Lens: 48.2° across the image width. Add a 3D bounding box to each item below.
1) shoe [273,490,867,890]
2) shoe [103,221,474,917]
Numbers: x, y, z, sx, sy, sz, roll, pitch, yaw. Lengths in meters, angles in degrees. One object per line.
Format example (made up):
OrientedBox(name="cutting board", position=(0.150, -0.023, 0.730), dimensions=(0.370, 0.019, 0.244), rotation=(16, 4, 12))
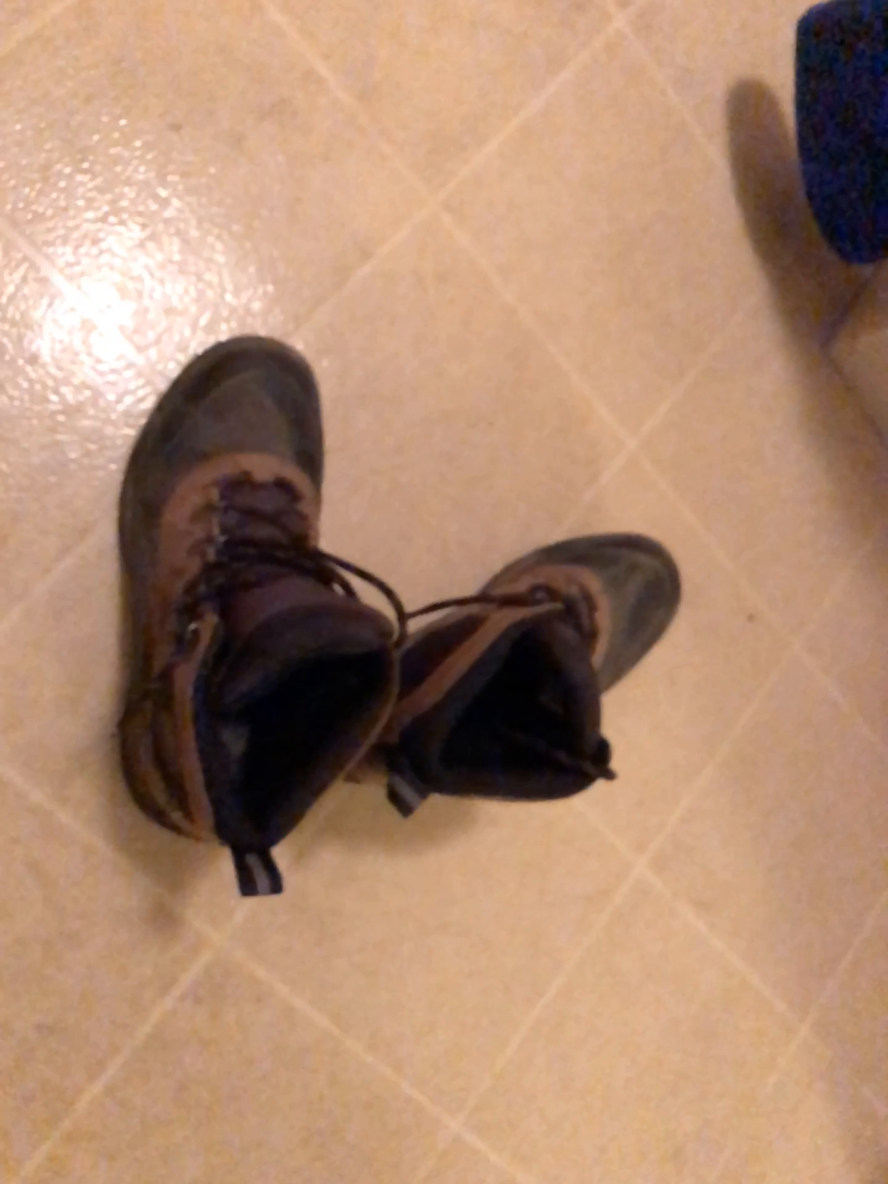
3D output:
OrientedBox(name="shoe", position=(0.073, 0.041, 0.612), dimensions=(0.293, 0.186, 0.113), rotation=(-21, 99, -24))
OrientedBox(name="shoe", position=(-0.094, -0.006, 0.533), dimensions=(0.122, 0.186, 0.299), rotation=(6, 88, -25))
